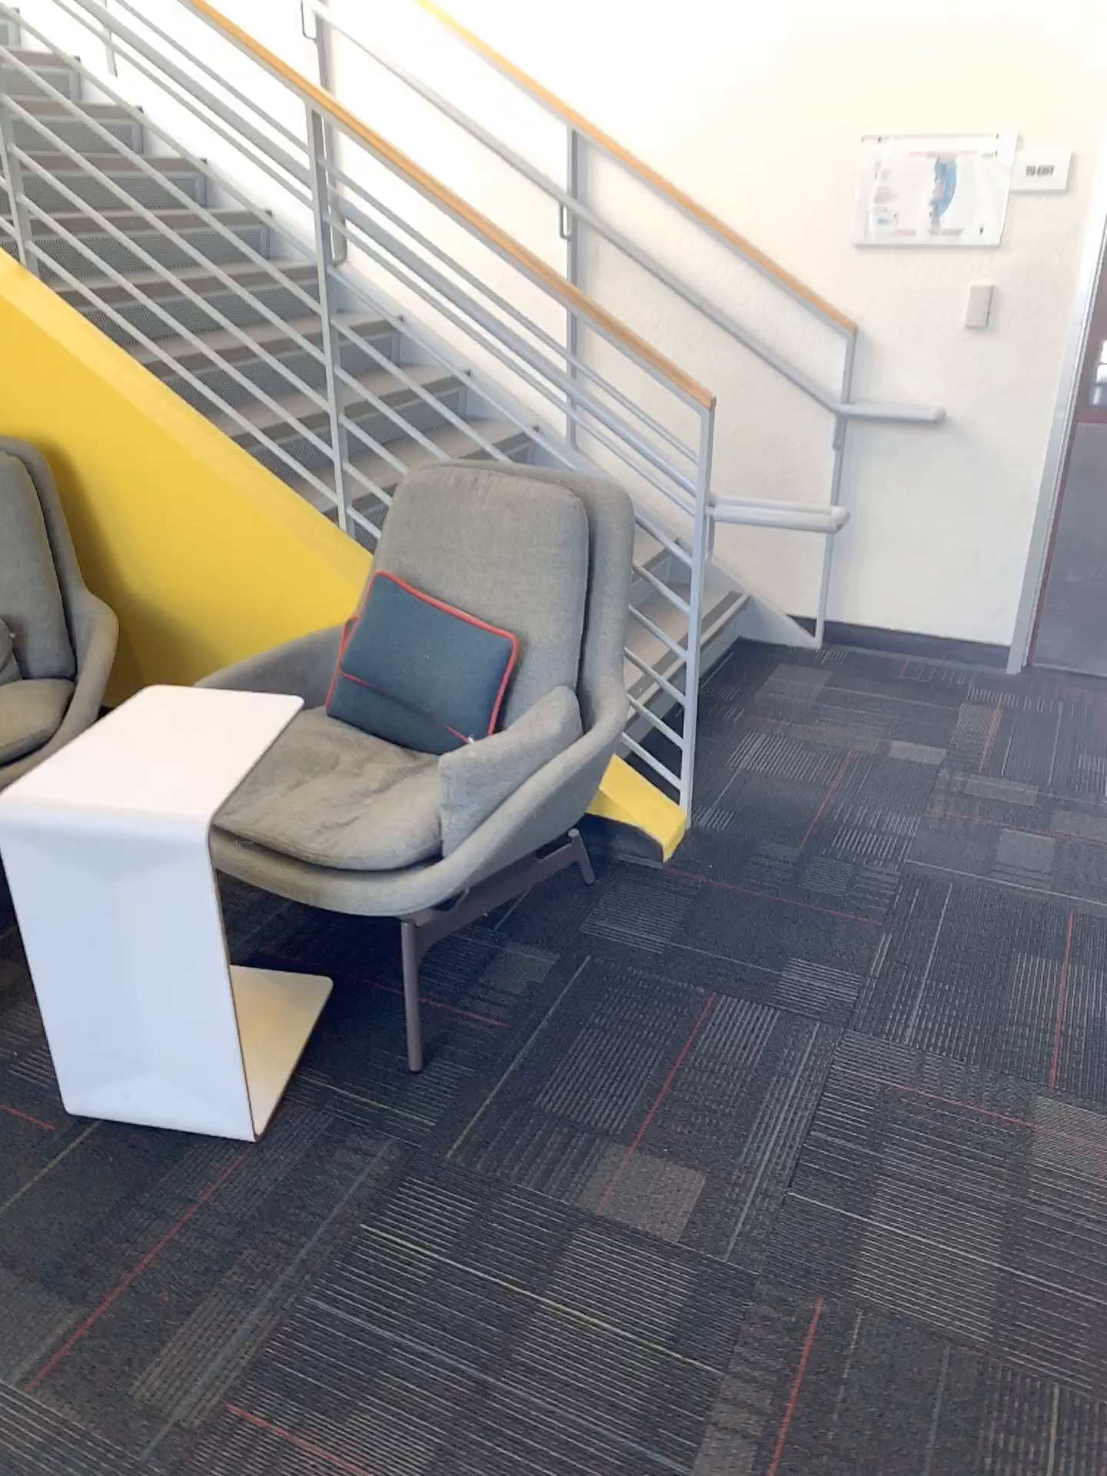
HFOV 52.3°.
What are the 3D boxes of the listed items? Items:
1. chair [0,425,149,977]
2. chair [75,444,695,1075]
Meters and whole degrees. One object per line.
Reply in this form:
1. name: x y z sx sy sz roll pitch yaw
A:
1. chair: -1.558 -0.161 2.762 0.890 1.015 0.845 -8 24 -14
2. chair: -0.323 -0.062 2.447 0.873 0.945 0.881 17 27 33
